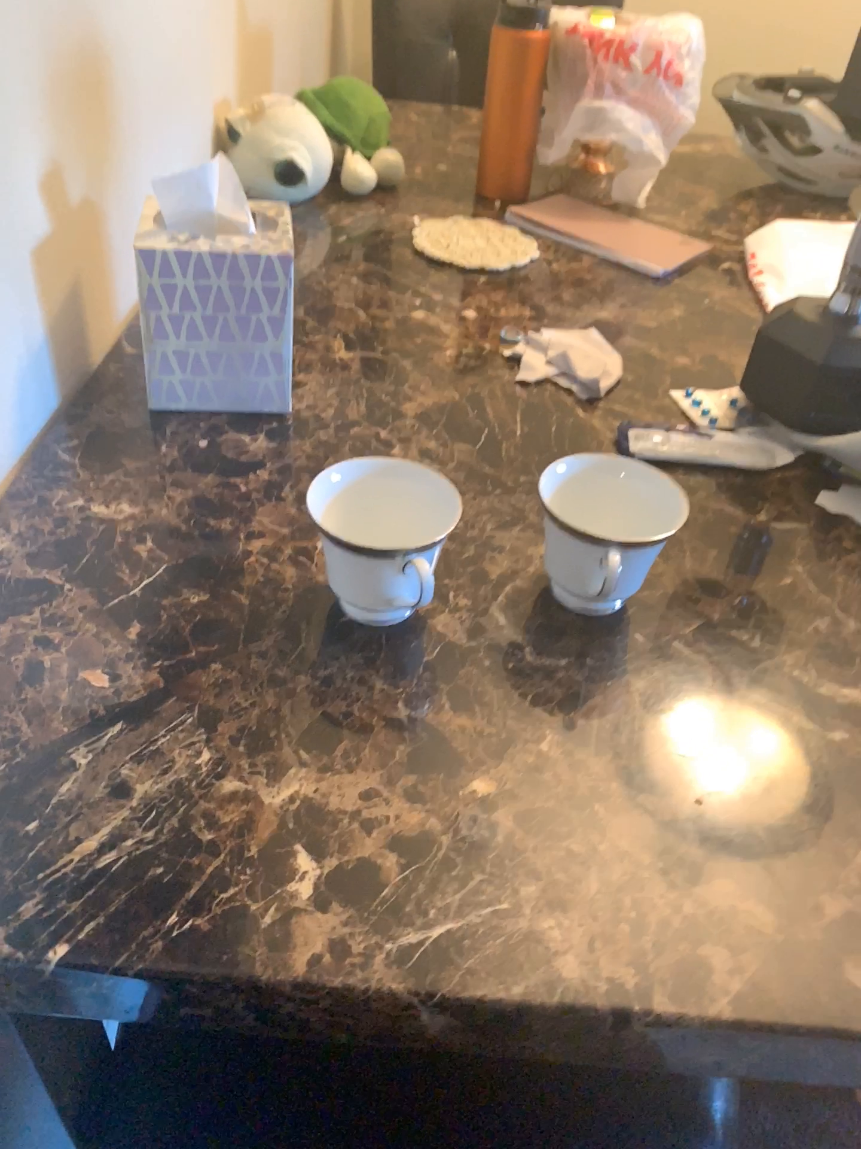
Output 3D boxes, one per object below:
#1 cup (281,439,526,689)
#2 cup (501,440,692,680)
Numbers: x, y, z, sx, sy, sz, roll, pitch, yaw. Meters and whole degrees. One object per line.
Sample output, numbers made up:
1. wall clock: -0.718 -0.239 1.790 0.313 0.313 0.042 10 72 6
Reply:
1. cup: -0.020 -0.010 0.503 0.090 0.070 0.111 -18 46 -27
2. cup: 0.103 -0.013 0.536 0.090 0.070 0.121 13 40 7
